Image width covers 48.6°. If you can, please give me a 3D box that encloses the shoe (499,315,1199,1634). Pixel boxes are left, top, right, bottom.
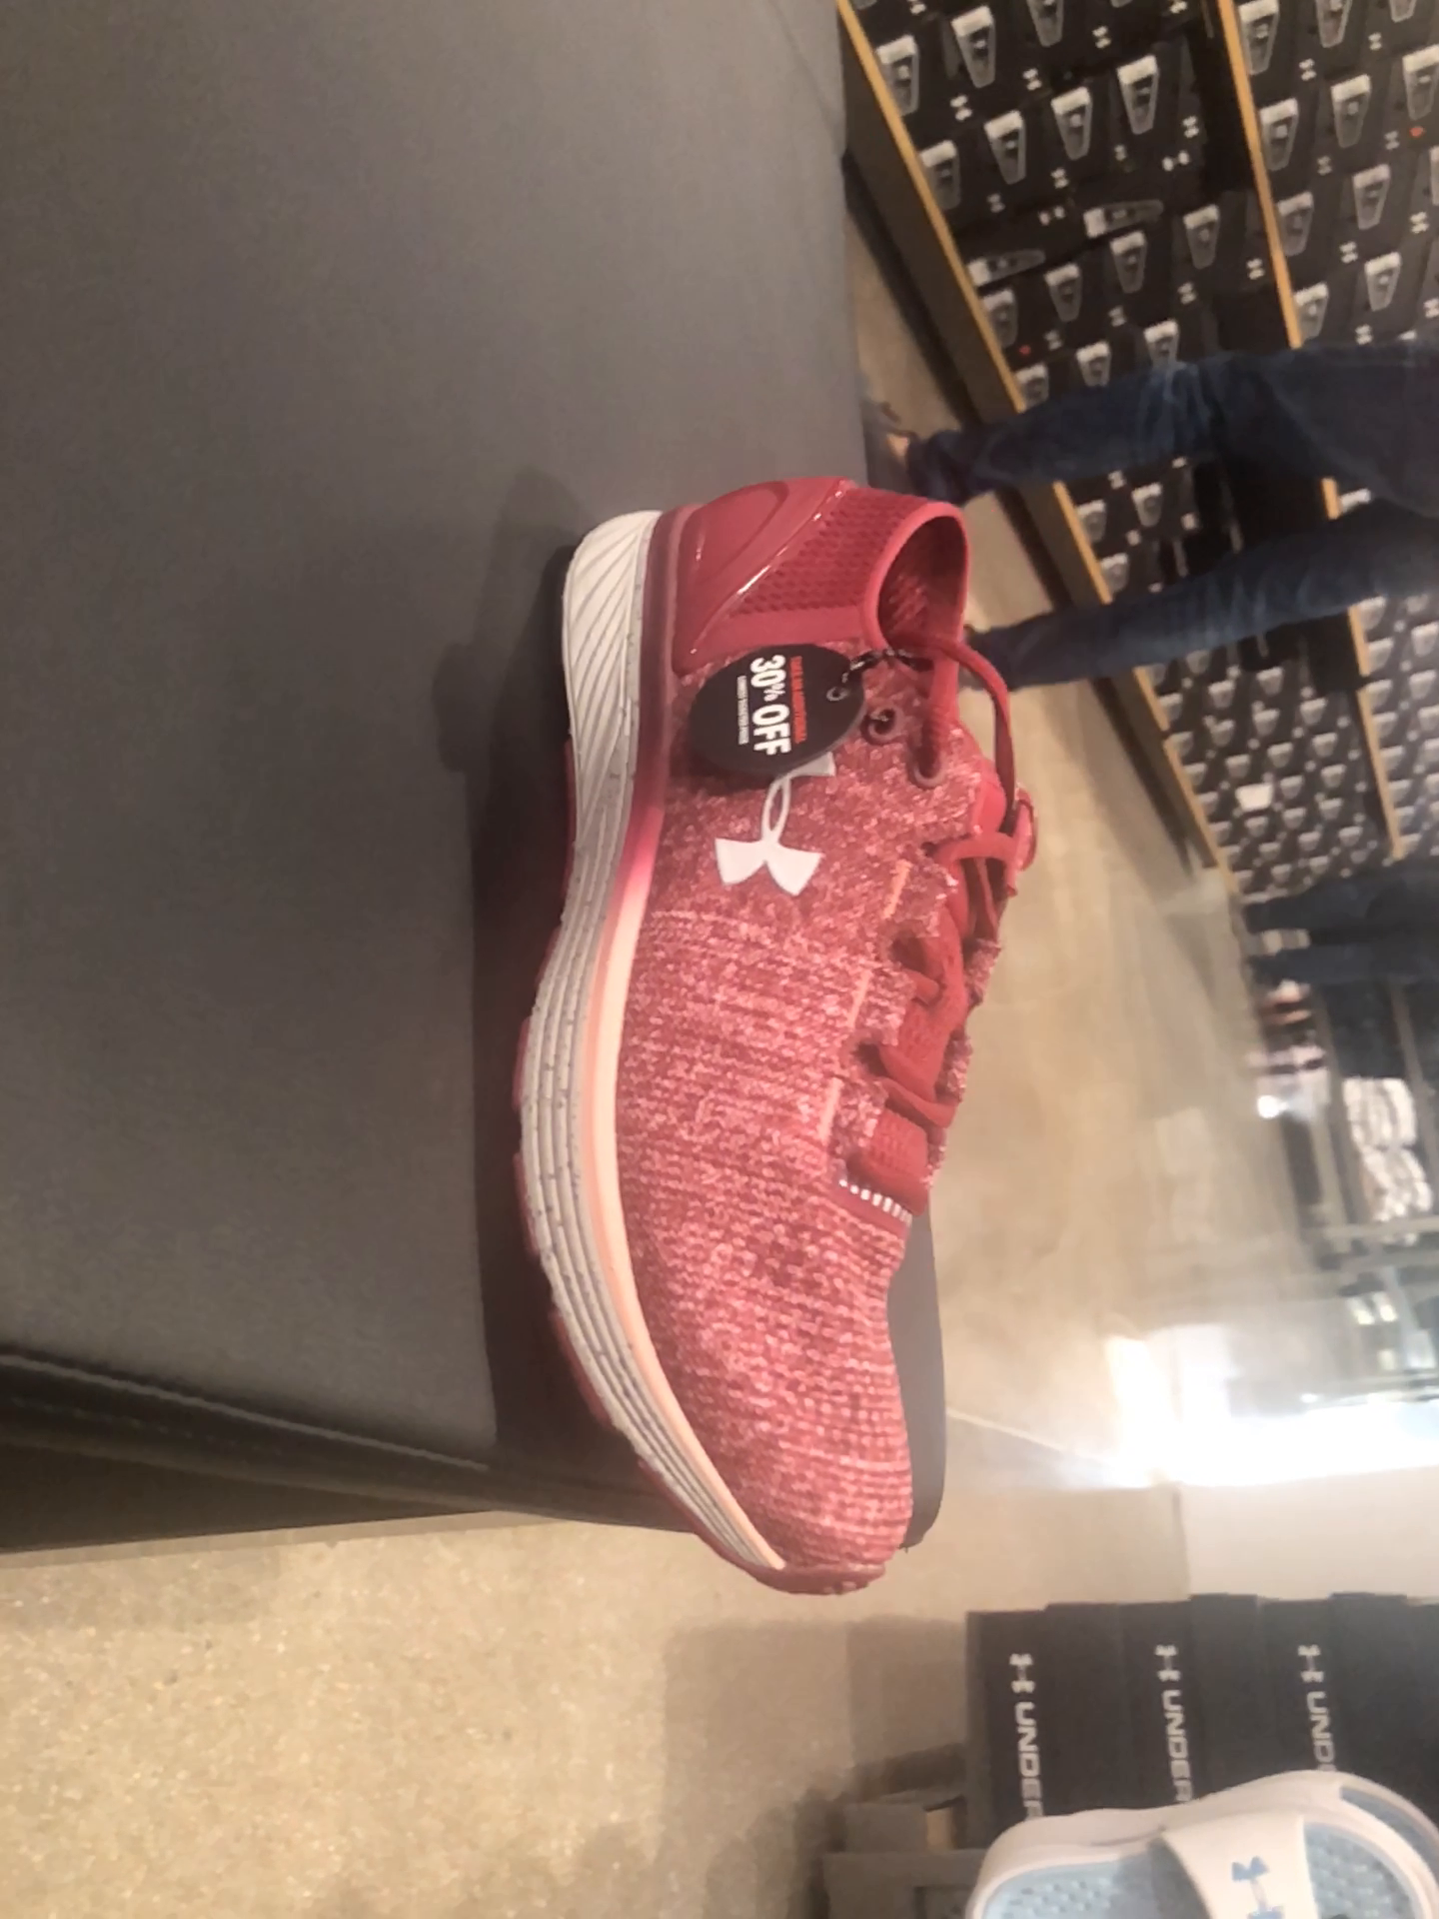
[{"bbox_3d":[0.027,0.010,0.364,0.122,0.097,0.253,34,48,-59],"label":"shoe"}]
